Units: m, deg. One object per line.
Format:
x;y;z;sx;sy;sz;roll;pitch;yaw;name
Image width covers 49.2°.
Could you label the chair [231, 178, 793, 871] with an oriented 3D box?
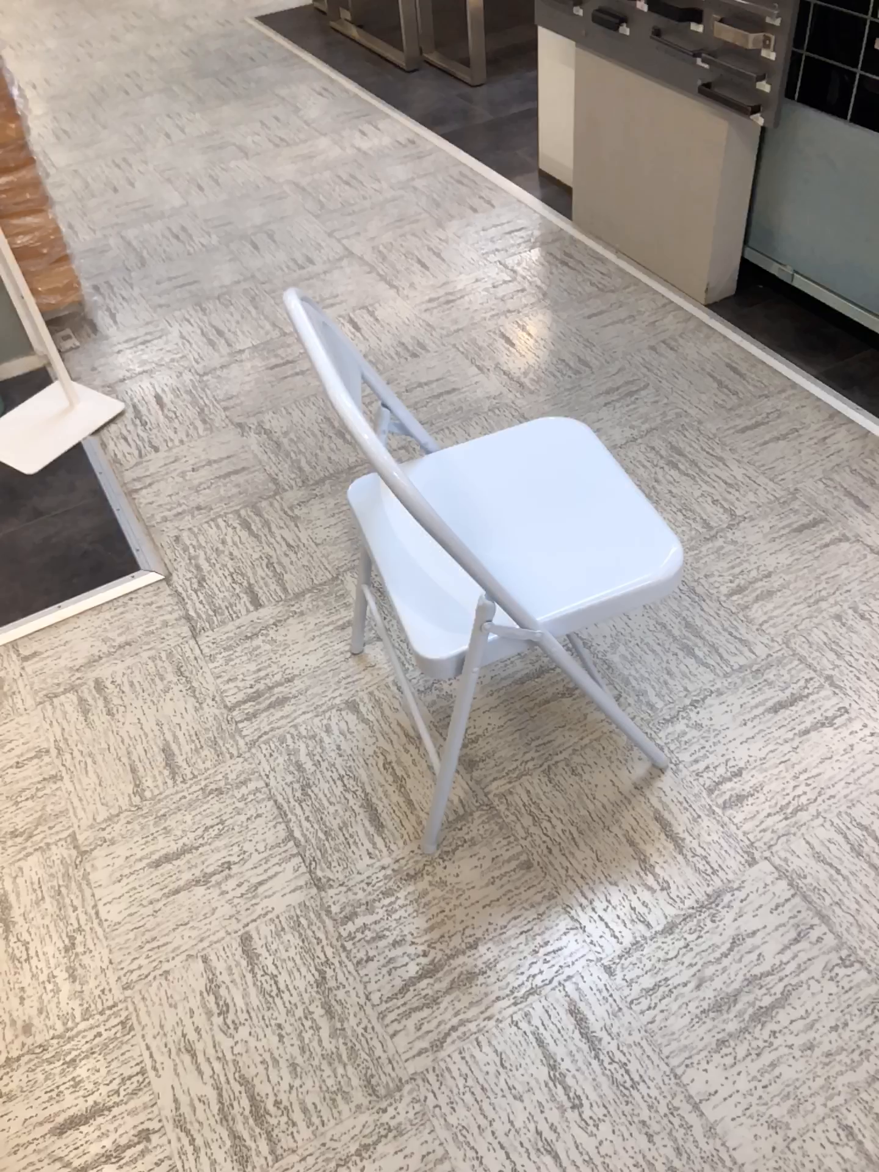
0.075;-0.076;1.350;0.481;0.706;0.512;-18;46;-11;chair
